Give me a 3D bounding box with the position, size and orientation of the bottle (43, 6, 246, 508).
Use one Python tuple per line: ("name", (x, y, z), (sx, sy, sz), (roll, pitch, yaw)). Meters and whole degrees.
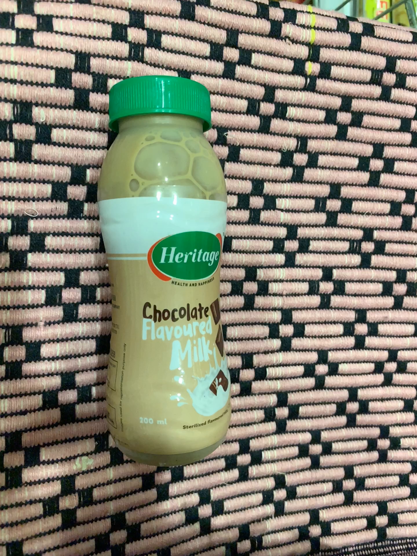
("bottle", (-0.024, -0.006, 0.156), (0.050, 0.050, 0.140), (-3, 91, -32))
